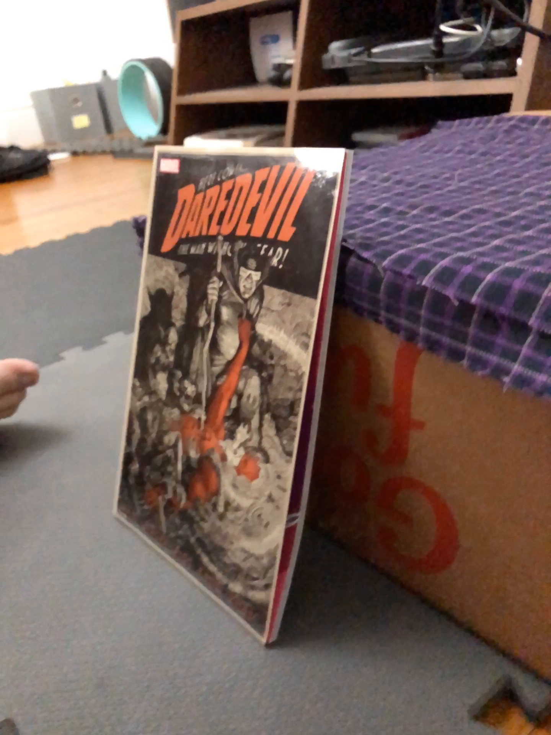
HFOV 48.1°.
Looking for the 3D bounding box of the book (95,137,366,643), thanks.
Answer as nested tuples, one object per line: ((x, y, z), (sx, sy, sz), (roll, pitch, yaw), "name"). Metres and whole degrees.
((-0.040, -0.001, 0.332), (0.020, 0.229, 0.160), (-3, 17, -44), "book")
